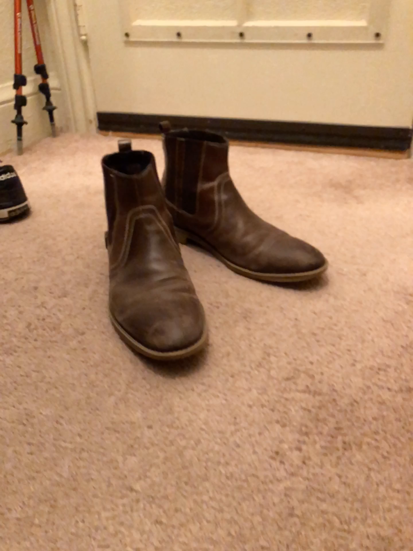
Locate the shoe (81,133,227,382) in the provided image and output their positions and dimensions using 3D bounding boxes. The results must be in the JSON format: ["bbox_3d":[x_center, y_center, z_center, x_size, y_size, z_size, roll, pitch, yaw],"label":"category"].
[{"bbox_3d":[-0.074,-0.047,0.547,0.119,0.158,0.299,-9,33,-11],"label":"shoe"}]

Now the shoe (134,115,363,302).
[{"bbox_3d":[0.043,-0.112,0.646,0.119,0.158,0.298,-28,41,-36],"label":"shoe"}]
